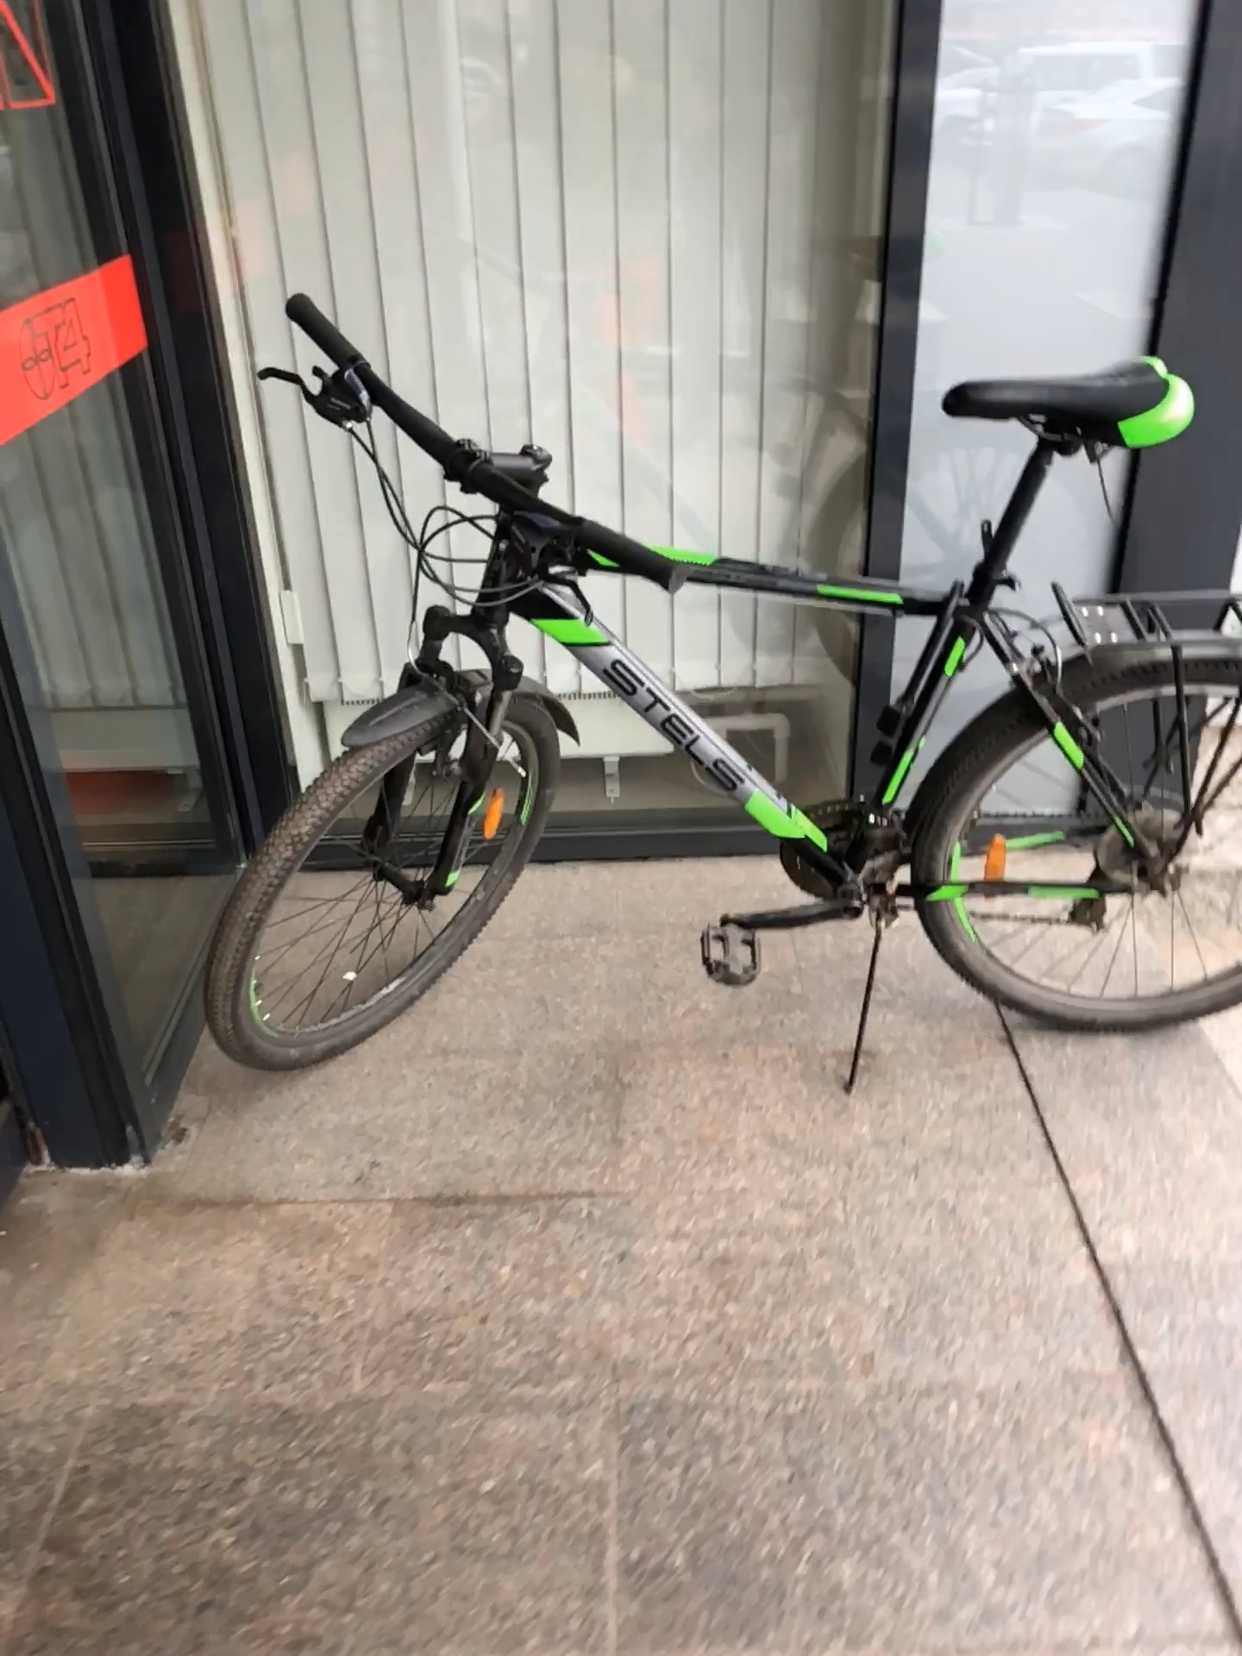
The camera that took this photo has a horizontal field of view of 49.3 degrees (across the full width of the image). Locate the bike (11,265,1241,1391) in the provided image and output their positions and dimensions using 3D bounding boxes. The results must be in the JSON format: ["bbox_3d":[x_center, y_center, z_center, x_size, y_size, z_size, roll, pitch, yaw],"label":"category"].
[{"bbox_3d":[0.274,-0.042,1.663,1.544,1.051,0.632,-5,30,-6],"label":"bike"}]
